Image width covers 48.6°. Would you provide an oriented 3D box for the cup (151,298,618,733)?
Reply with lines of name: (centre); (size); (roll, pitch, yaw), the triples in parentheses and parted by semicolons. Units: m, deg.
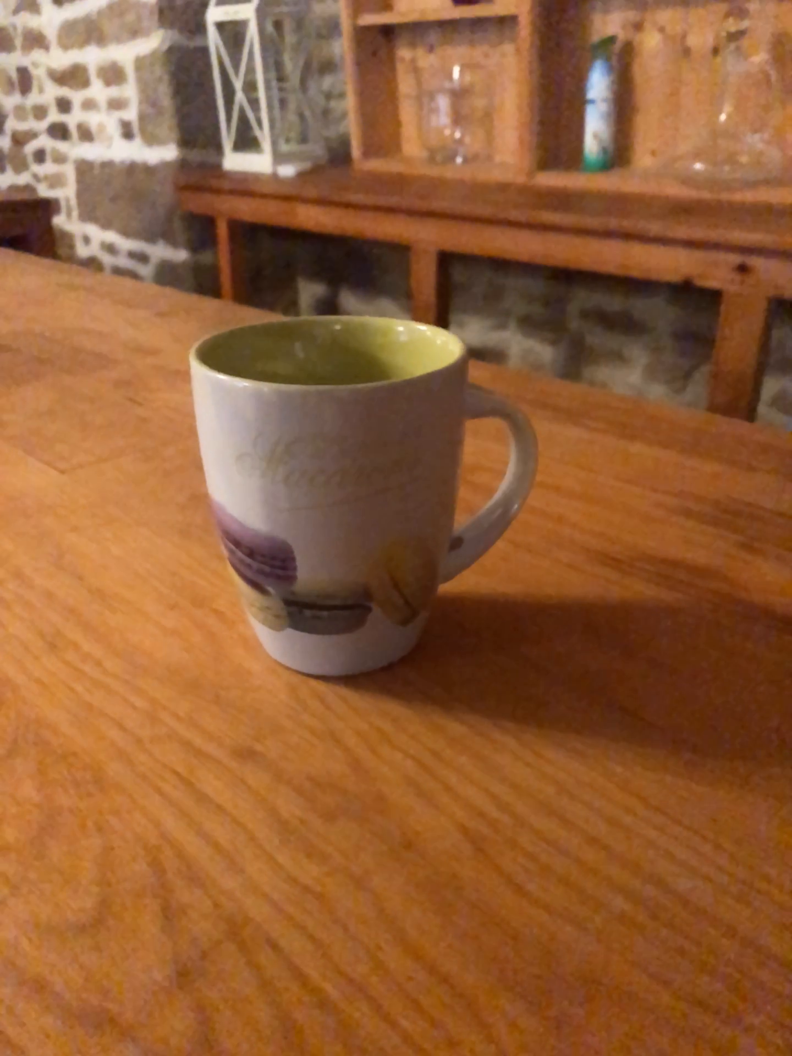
cup: (-0.008, -0.015, 0.304); (0.120, 0.099, 0.098); (-12, 28, -24)
